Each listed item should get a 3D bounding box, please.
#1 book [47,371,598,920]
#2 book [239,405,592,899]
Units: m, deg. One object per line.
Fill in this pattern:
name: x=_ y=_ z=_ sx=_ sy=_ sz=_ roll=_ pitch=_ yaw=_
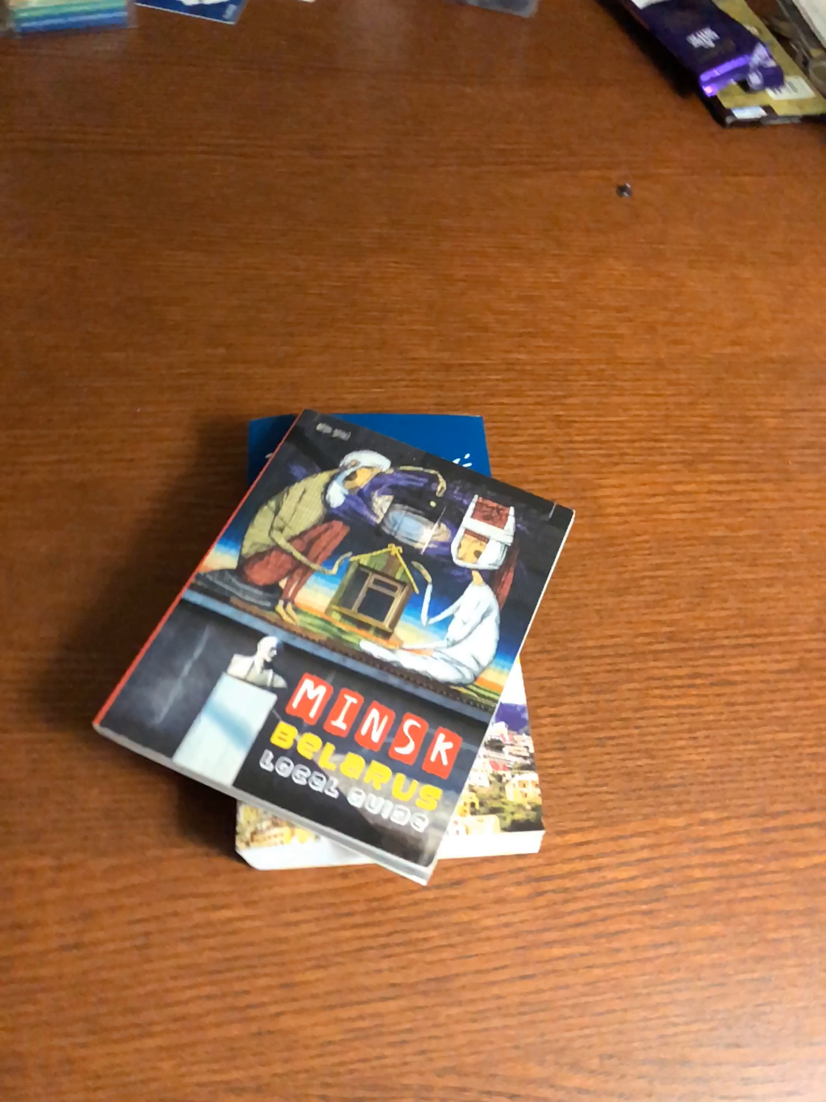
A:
book: x=-0.024 y=0.022 z=0.367 sx=0.150 sy=0.020 sz=0.191 roll=21 pitch=57 yaw=7
book: x=-0.008 y=0.032 z=0.409 sx=0.130 sy=0.040 sz=0.221 roll=0 pitch=57 yaw=-7
